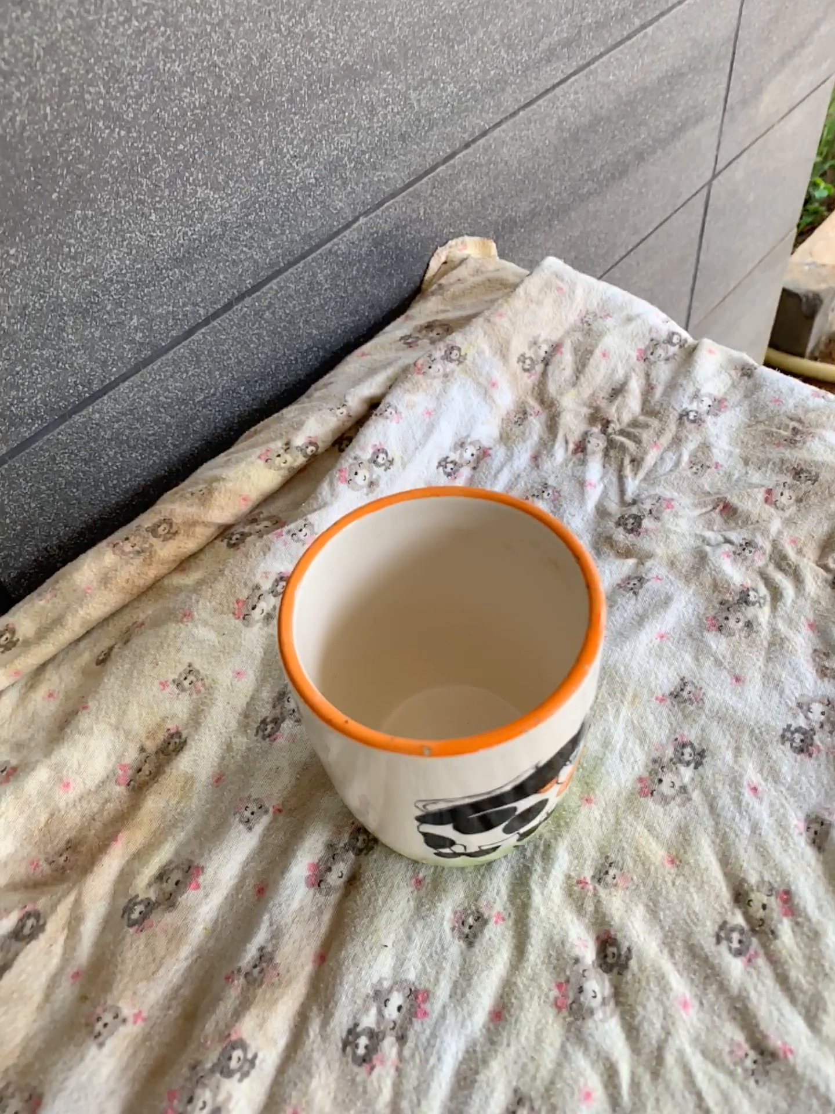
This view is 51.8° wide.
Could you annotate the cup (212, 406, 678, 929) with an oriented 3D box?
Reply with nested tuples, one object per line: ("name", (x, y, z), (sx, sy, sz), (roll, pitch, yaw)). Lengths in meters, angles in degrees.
("cup", (0.006, 0.030, 0.233), (0.080, 0.090, 0.080), (-3, 50, 4))
